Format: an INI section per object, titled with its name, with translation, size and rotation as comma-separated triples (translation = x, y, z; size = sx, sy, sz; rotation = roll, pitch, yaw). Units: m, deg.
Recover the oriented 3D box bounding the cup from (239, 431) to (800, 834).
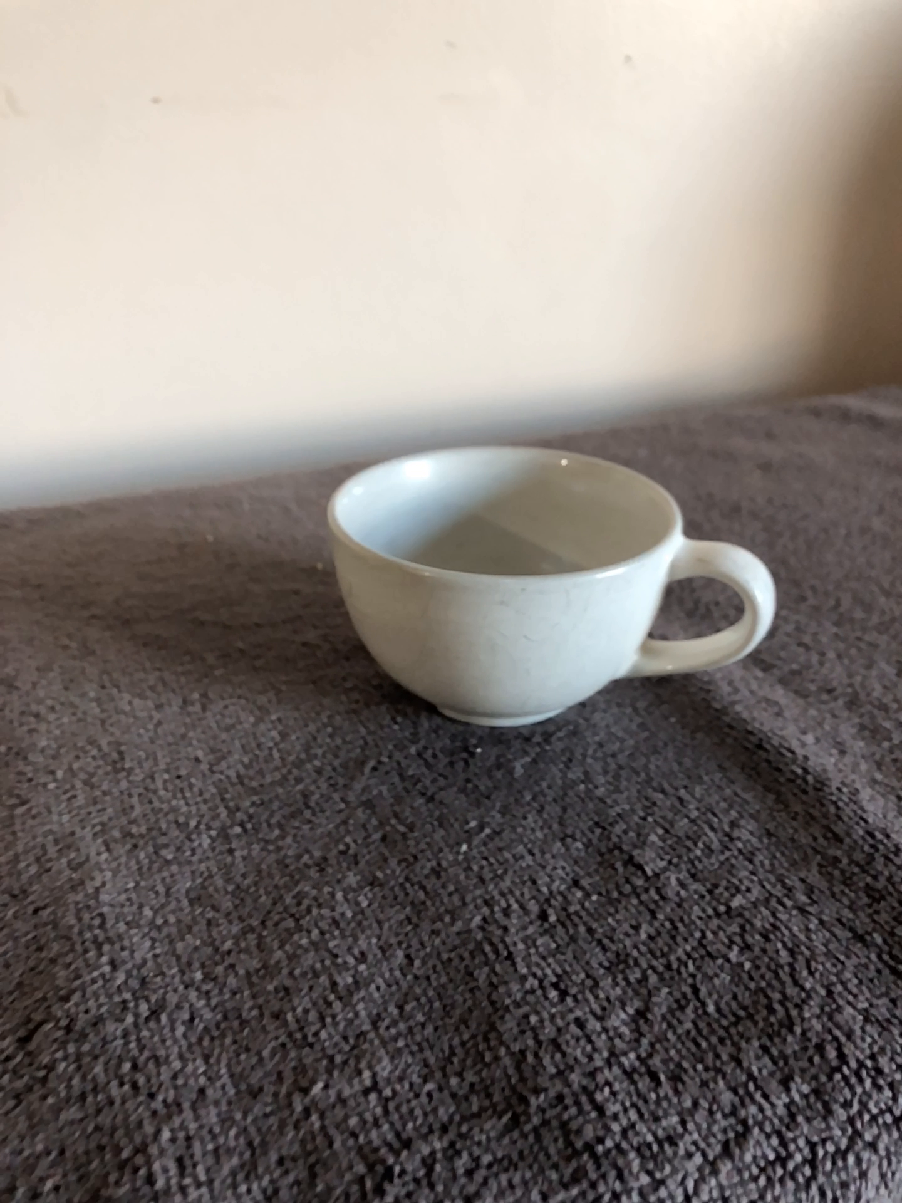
[cup]
translation = 0.022, -0.001, 0.271
size = 0.120, 0.050, 0.090
rotation = 11, 30, 20
